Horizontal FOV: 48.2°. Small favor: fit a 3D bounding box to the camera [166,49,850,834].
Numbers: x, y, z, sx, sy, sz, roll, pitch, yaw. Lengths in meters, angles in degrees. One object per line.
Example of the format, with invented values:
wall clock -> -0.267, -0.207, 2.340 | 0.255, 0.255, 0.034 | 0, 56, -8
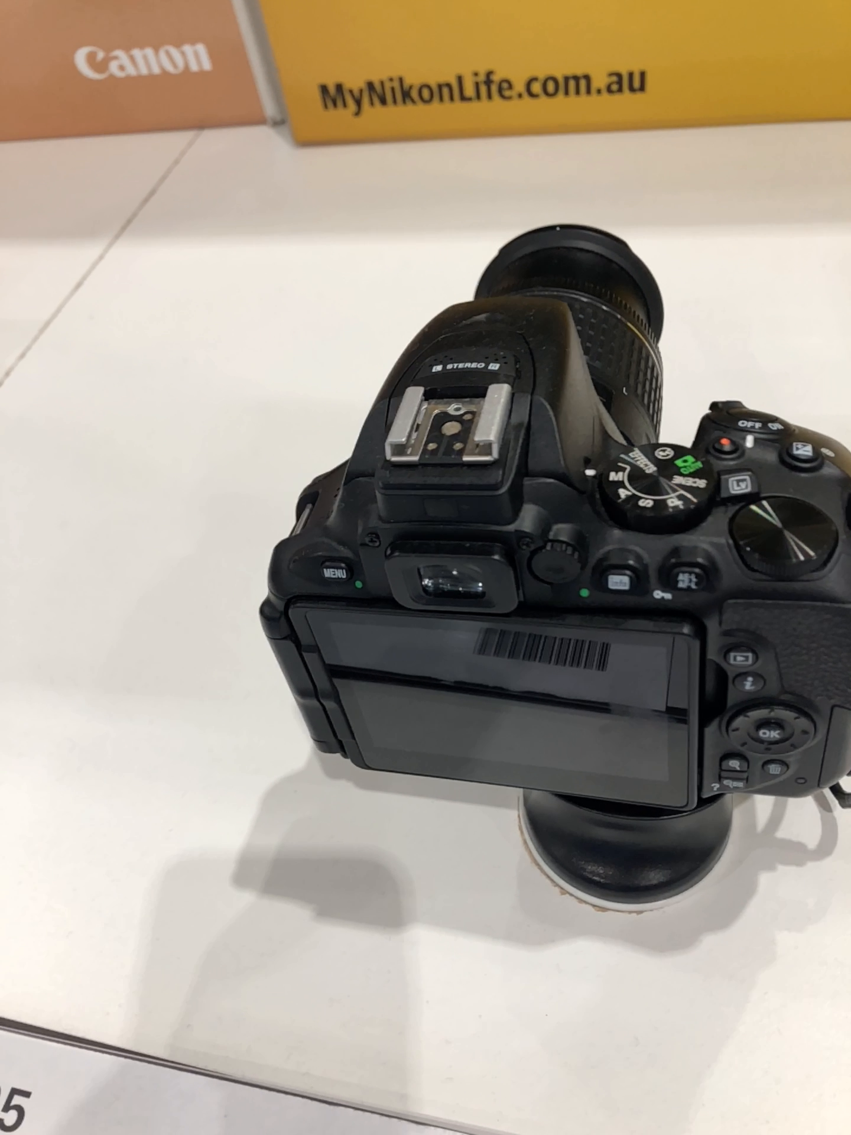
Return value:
camera -> 0.041, -0.040, 0.238 | 0.127, 0.097, 0.163 | 4, 50, 16
